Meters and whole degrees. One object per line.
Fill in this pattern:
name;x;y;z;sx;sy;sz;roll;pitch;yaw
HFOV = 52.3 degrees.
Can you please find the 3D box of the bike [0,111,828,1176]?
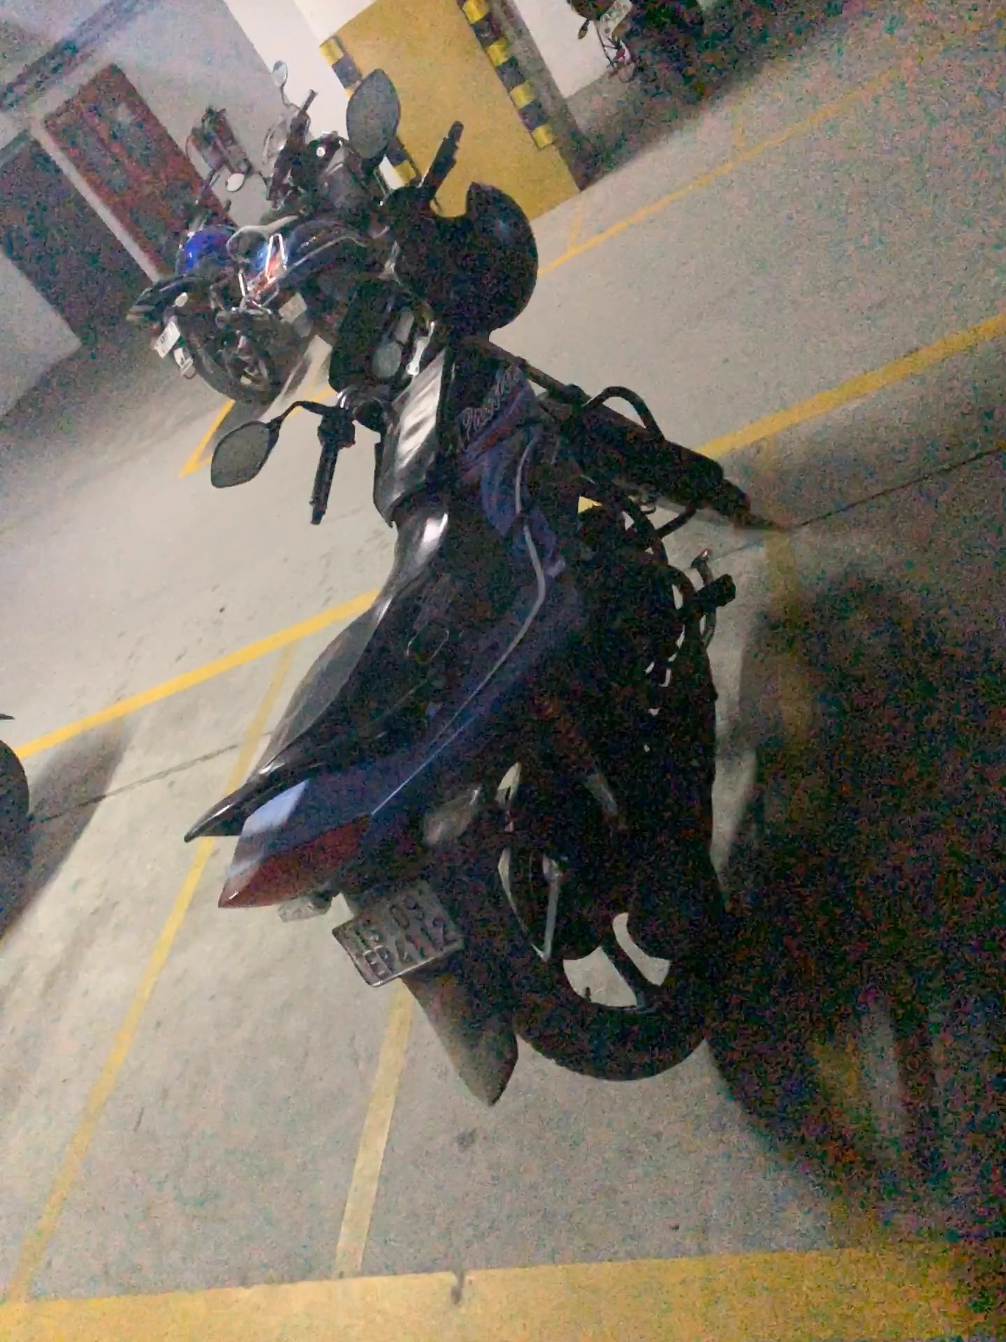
bike;-0.150;-0.164;1.960;0.782;1.107;1.707;-24;33;21
